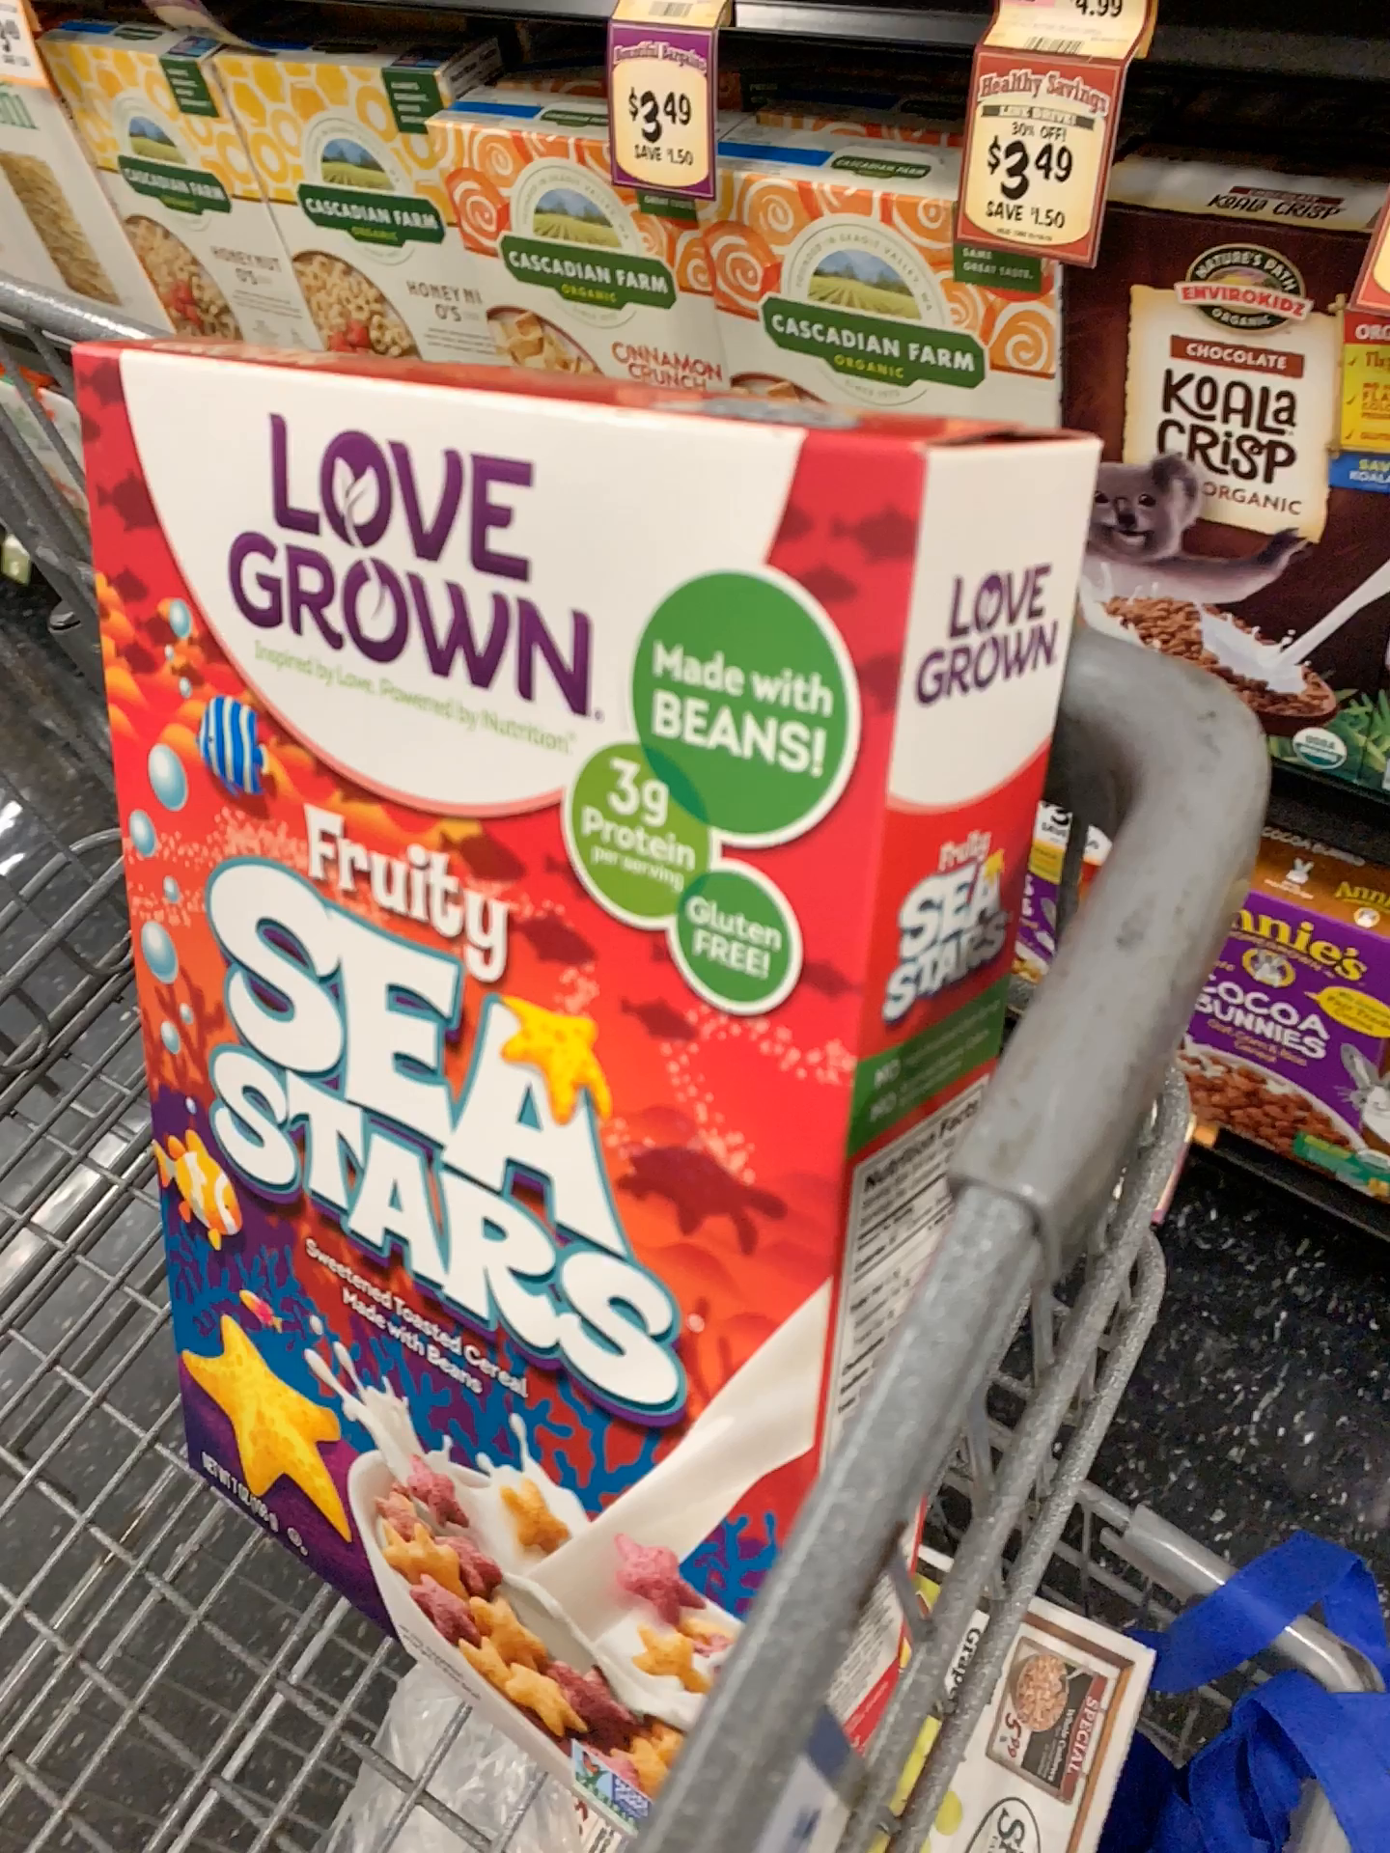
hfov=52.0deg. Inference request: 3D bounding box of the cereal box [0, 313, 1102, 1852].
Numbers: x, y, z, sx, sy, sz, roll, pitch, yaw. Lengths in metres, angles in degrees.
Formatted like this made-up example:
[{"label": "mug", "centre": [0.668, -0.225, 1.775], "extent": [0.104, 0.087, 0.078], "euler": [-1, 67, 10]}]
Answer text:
[{"label": "cereal box", "centre": [-0.041, 0.029, 0.259], "extent": [0.181, 0.249, 0.050], "euler": [21, 31, 34]}]
